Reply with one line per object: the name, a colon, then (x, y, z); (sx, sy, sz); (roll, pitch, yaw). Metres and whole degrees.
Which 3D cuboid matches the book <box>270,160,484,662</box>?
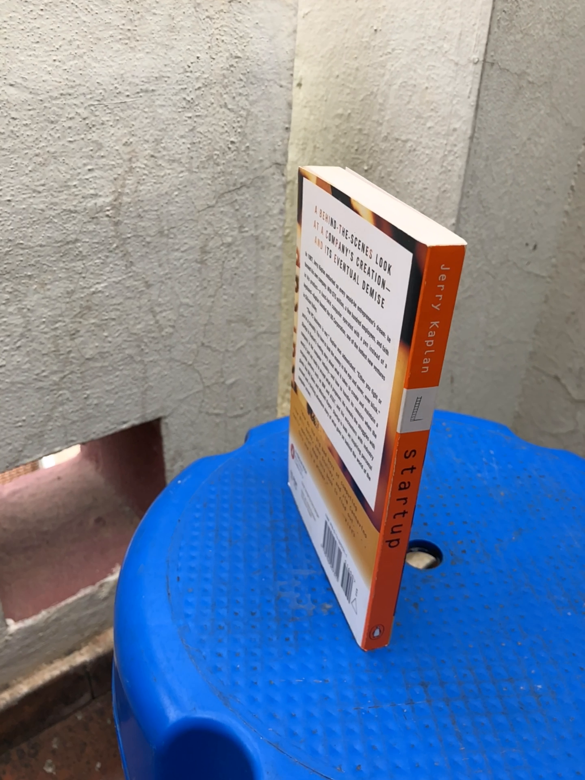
book: (0.025, 0.004, 0.320); (0.030, 0.199, 0.141); (-5, 30, -16)
